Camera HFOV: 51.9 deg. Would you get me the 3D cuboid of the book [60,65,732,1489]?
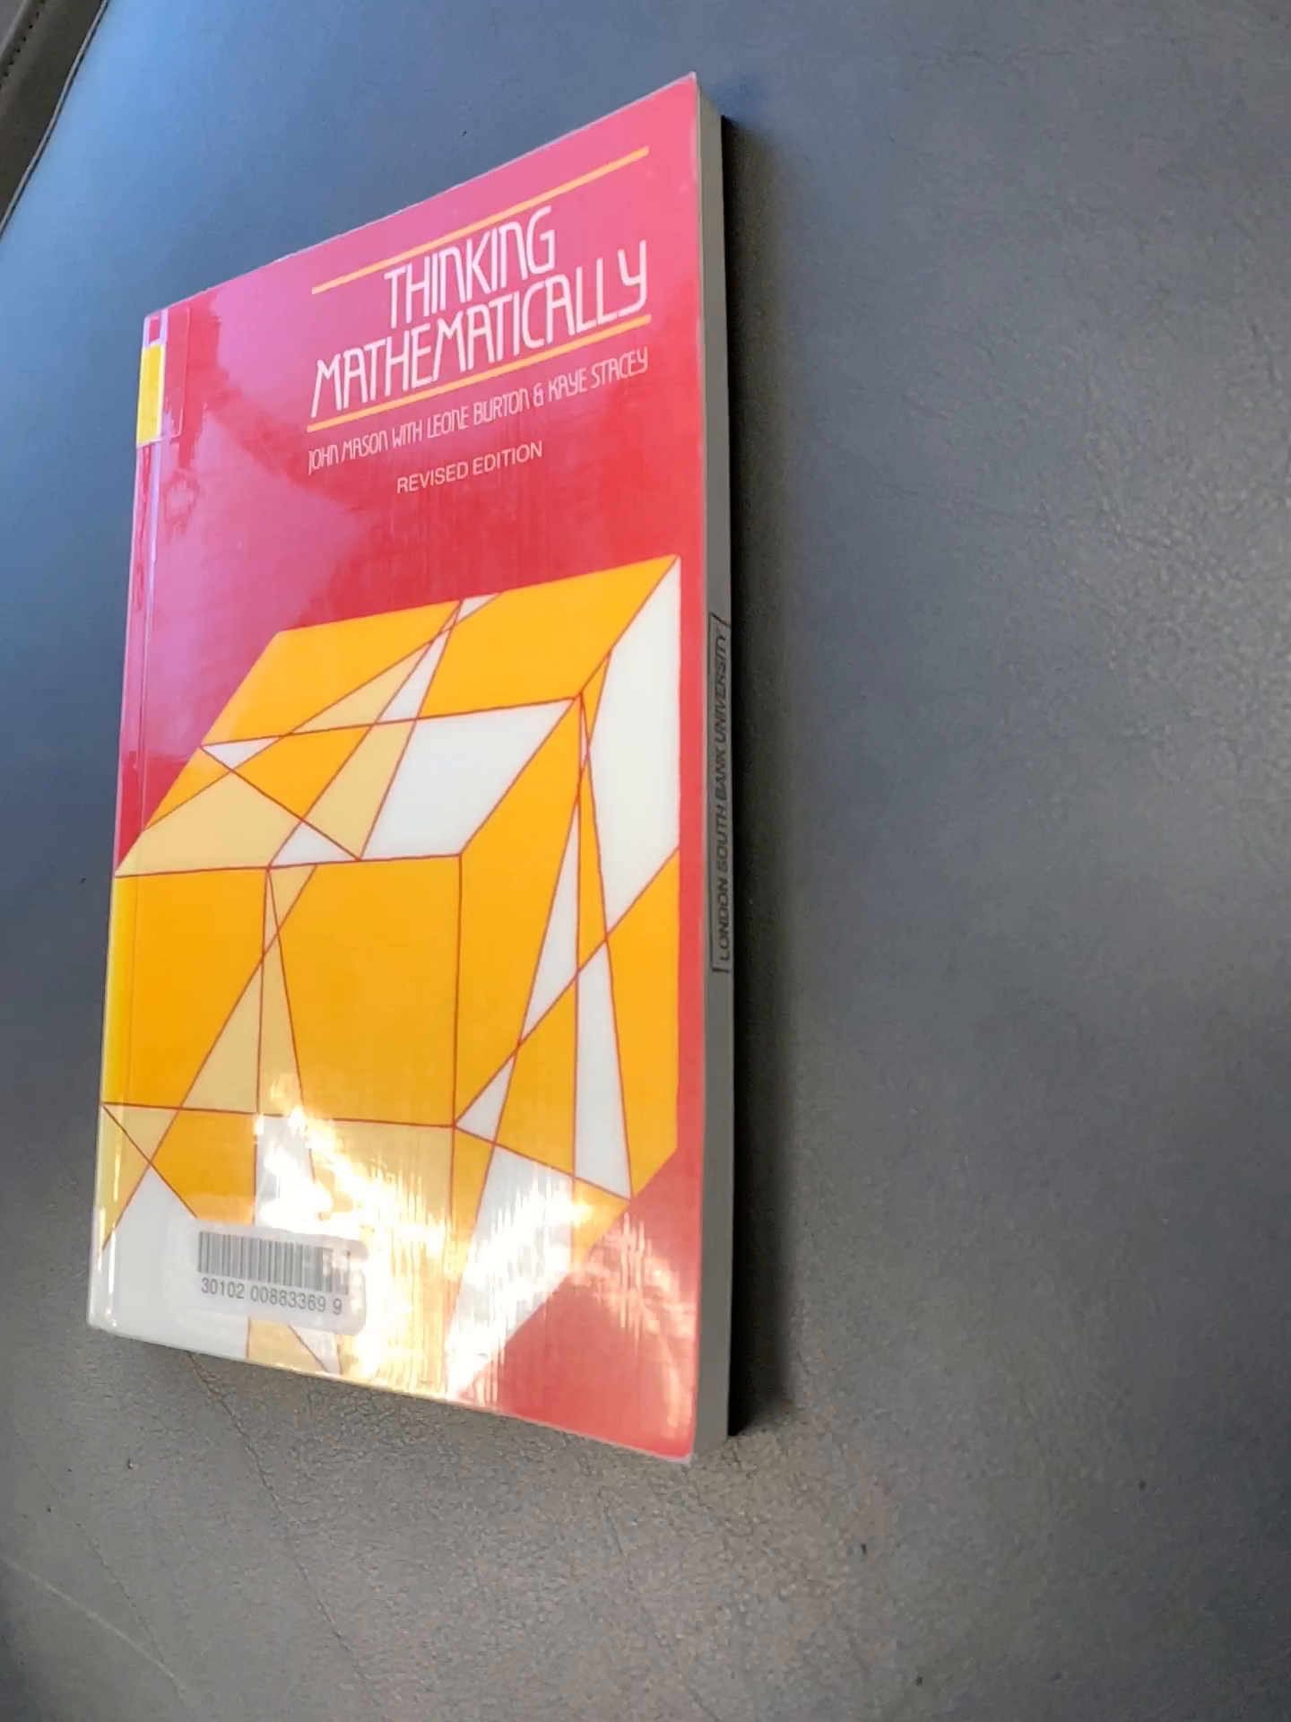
[{"bbox_3d":[-0.056,-0.015,0.262,0.157,0.016,0.232,-4,82,33],"label":"book"}]
